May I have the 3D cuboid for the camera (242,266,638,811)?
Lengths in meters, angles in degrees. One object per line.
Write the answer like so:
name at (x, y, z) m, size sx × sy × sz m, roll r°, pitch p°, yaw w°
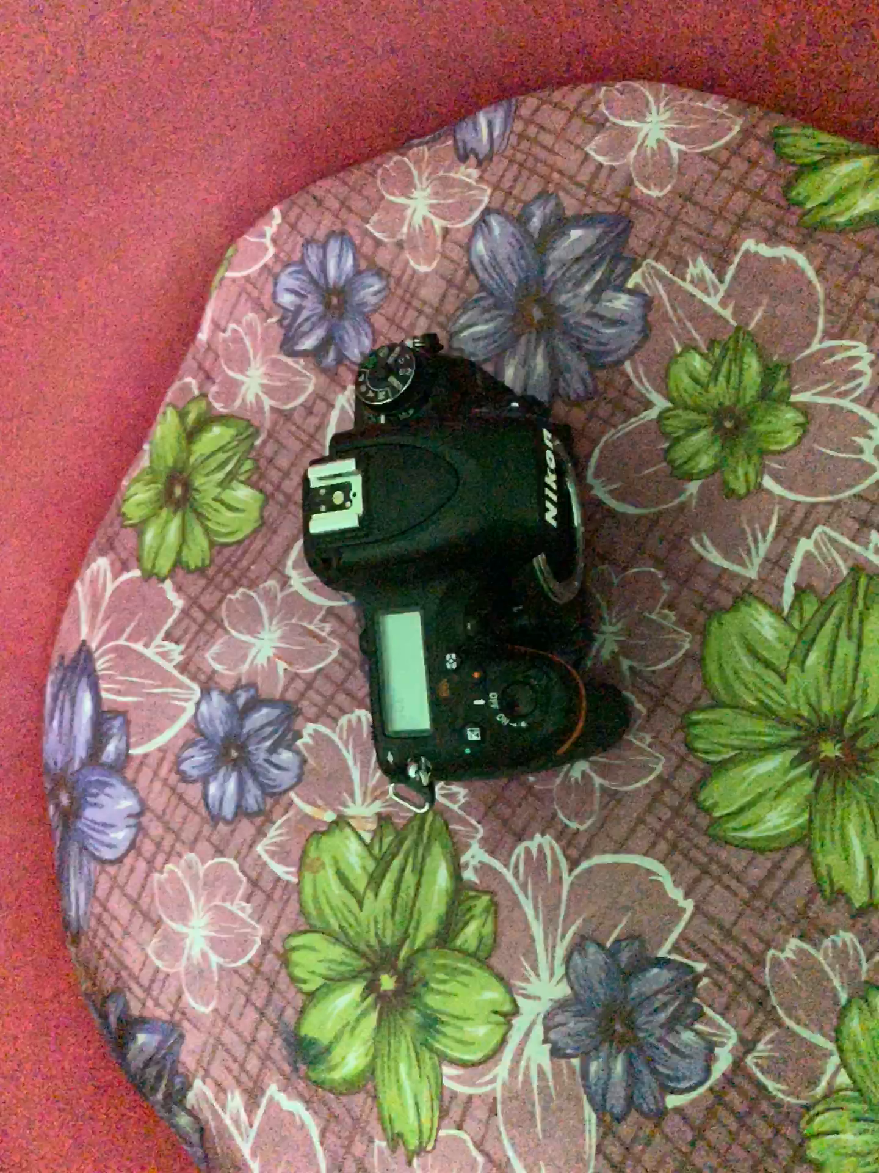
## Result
camera at (0.005, -0.008, 0.292) m, size 0.093 × 0.090 × 0.140 m, roll -7°, pitch 83°, yaw 18°
